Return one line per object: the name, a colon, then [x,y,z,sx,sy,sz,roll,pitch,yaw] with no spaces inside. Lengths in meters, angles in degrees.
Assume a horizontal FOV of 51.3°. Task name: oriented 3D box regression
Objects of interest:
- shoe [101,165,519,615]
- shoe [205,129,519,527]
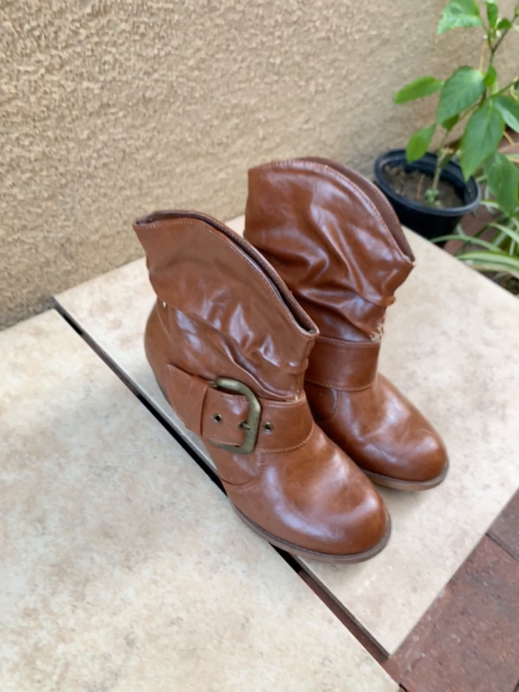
shoe: [0.014,0.031,0.378,0.245,0.198,0.096,36,51,20]
shoe: [0.082,-0.016,0.438,0.245,0.198,0.101,40,53,23]
